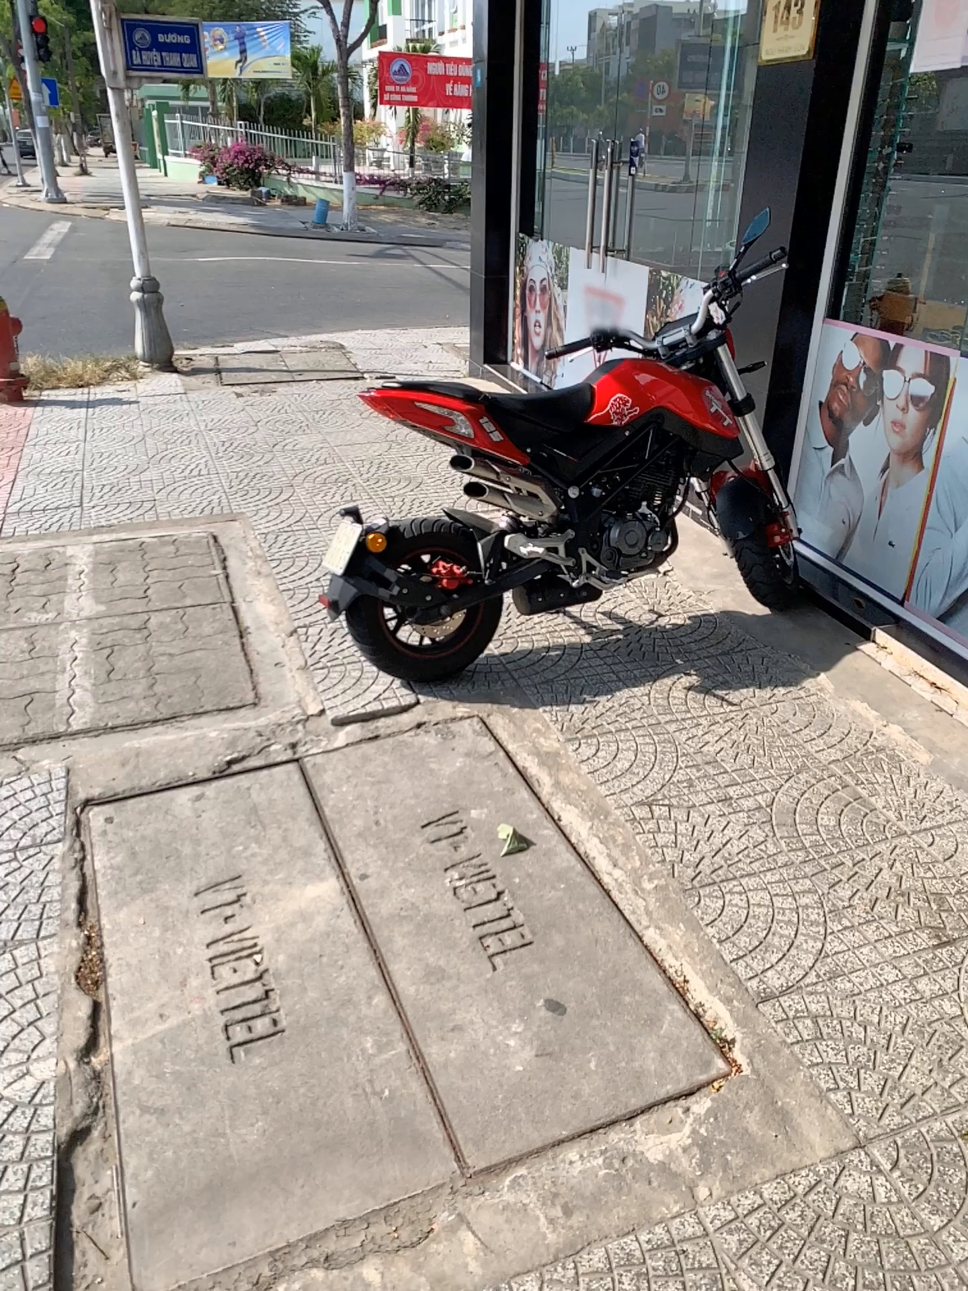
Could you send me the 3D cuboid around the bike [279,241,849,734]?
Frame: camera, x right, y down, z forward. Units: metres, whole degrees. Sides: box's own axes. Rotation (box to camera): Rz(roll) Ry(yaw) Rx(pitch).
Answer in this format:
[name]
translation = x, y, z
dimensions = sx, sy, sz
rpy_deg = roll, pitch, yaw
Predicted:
[bike]
translation = 0.353, -0.752, 3.555
dimensions = 2.125, 1.216, 0.834
rpy_deg = -18, 32, -35
